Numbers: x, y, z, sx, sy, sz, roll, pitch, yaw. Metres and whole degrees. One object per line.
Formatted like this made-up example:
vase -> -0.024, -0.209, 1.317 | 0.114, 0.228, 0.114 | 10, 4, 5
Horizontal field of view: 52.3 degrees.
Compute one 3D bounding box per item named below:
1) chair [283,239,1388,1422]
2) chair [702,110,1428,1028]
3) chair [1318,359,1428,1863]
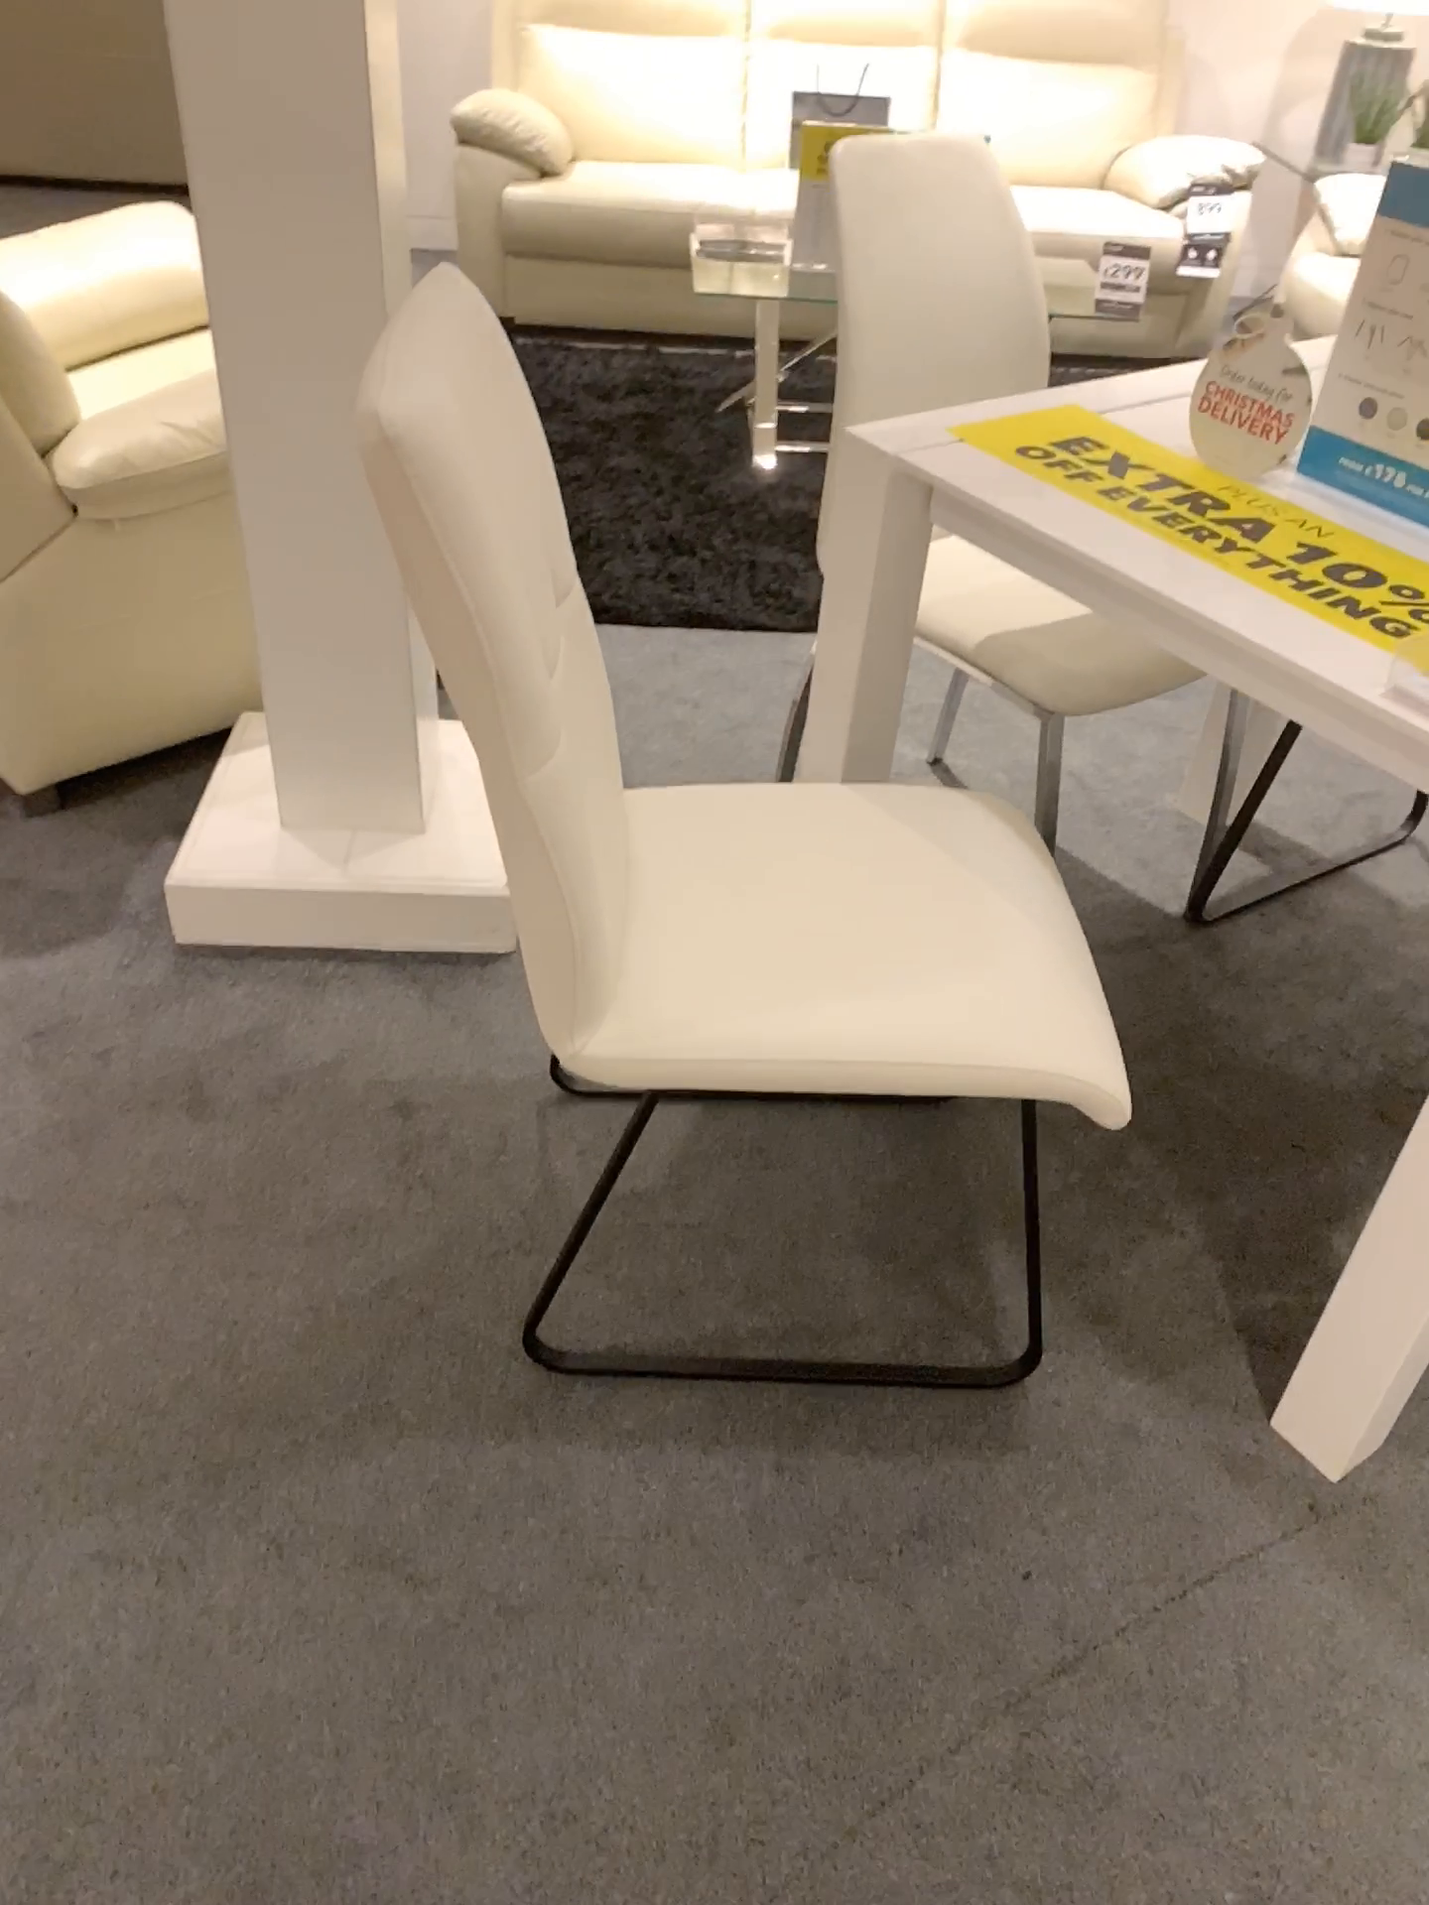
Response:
chair -> 0.037, -0.077, 1.307 | 0.630, 0.881, 0.545 | 2, 38, -4
chair -> 0.415, -0.516, 1.901 | 0.522, 0.901, 0.644 | -24, 47, -32
chair -> 1.042, 0.101, 1.157 | 0.552, 0.881, 0.604 | -18, 44, -26
